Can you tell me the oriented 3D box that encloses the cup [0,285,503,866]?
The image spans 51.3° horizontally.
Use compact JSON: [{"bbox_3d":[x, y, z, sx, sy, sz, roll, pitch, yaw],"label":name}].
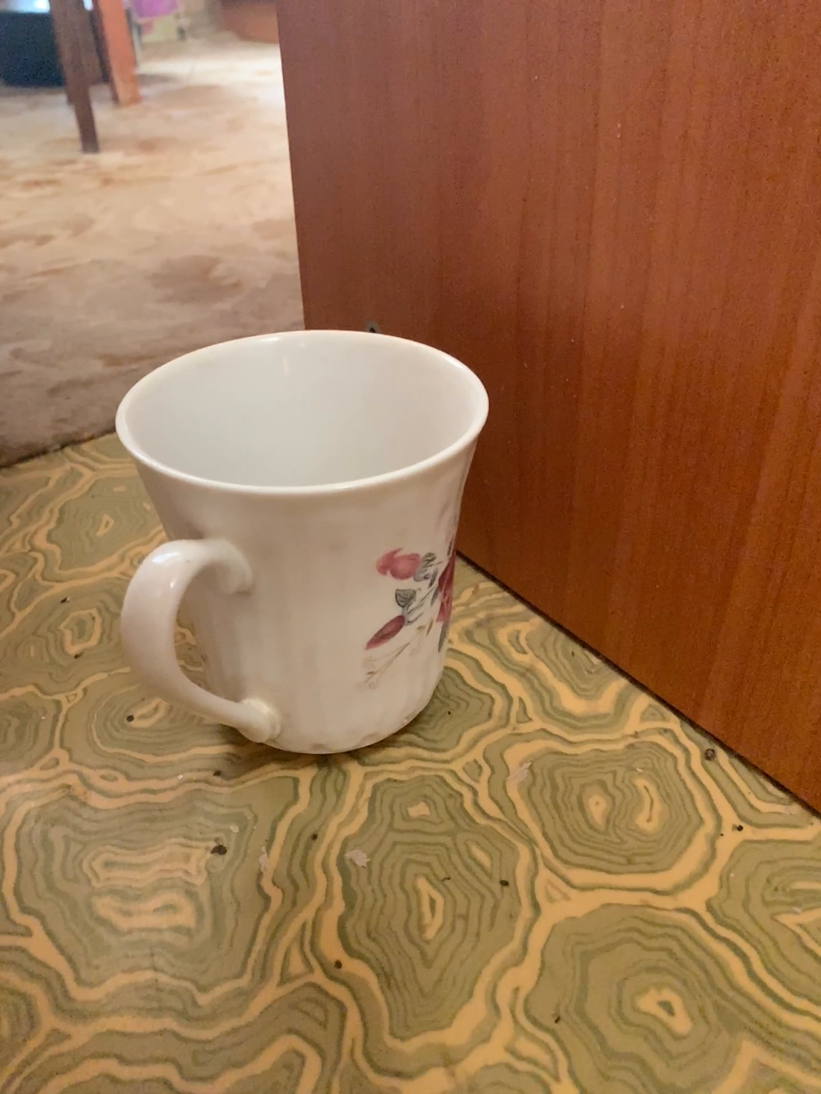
[{"bbox_3d":[-0.026,-0.003,0.217,0.086,0.086,0.119,5,34,8],"label":"cup"}]
